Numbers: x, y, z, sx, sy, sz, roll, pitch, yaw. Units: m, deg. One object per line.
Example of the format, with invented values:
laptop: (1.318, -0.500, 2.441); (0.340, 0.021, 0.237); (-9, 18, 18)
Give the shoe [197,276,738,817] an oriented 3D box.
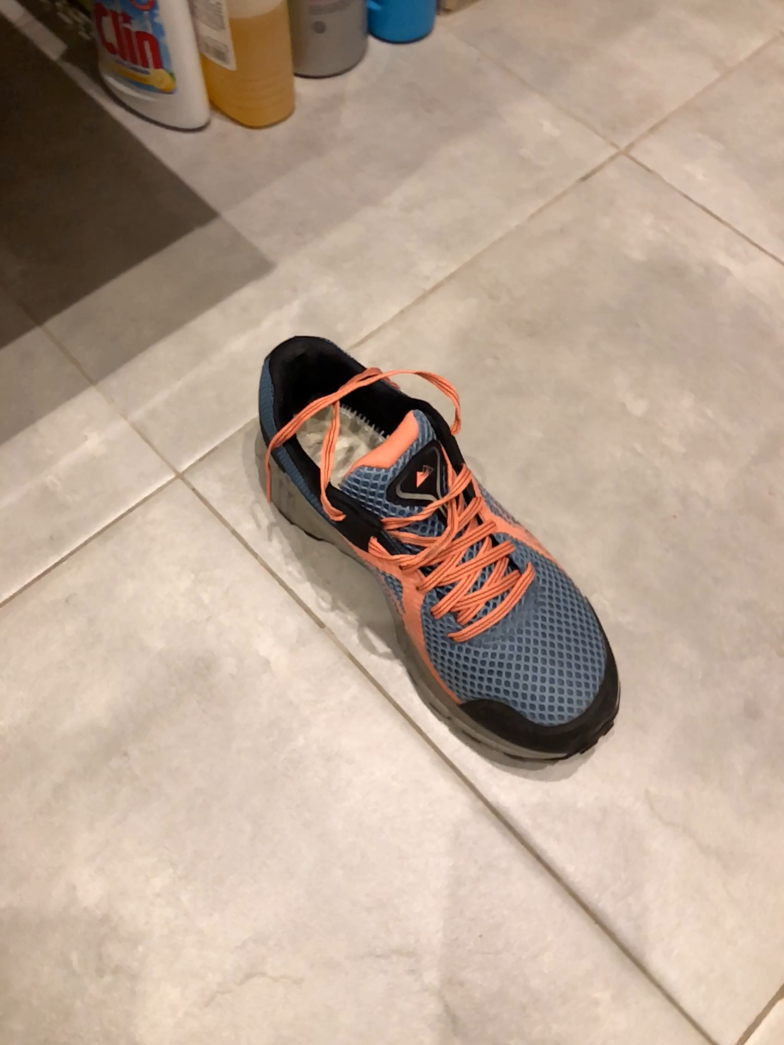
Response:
shoe: (0.027, 0.007, 0.441); (0.110, 0.090, 0.250); (-38, 71, -17)
